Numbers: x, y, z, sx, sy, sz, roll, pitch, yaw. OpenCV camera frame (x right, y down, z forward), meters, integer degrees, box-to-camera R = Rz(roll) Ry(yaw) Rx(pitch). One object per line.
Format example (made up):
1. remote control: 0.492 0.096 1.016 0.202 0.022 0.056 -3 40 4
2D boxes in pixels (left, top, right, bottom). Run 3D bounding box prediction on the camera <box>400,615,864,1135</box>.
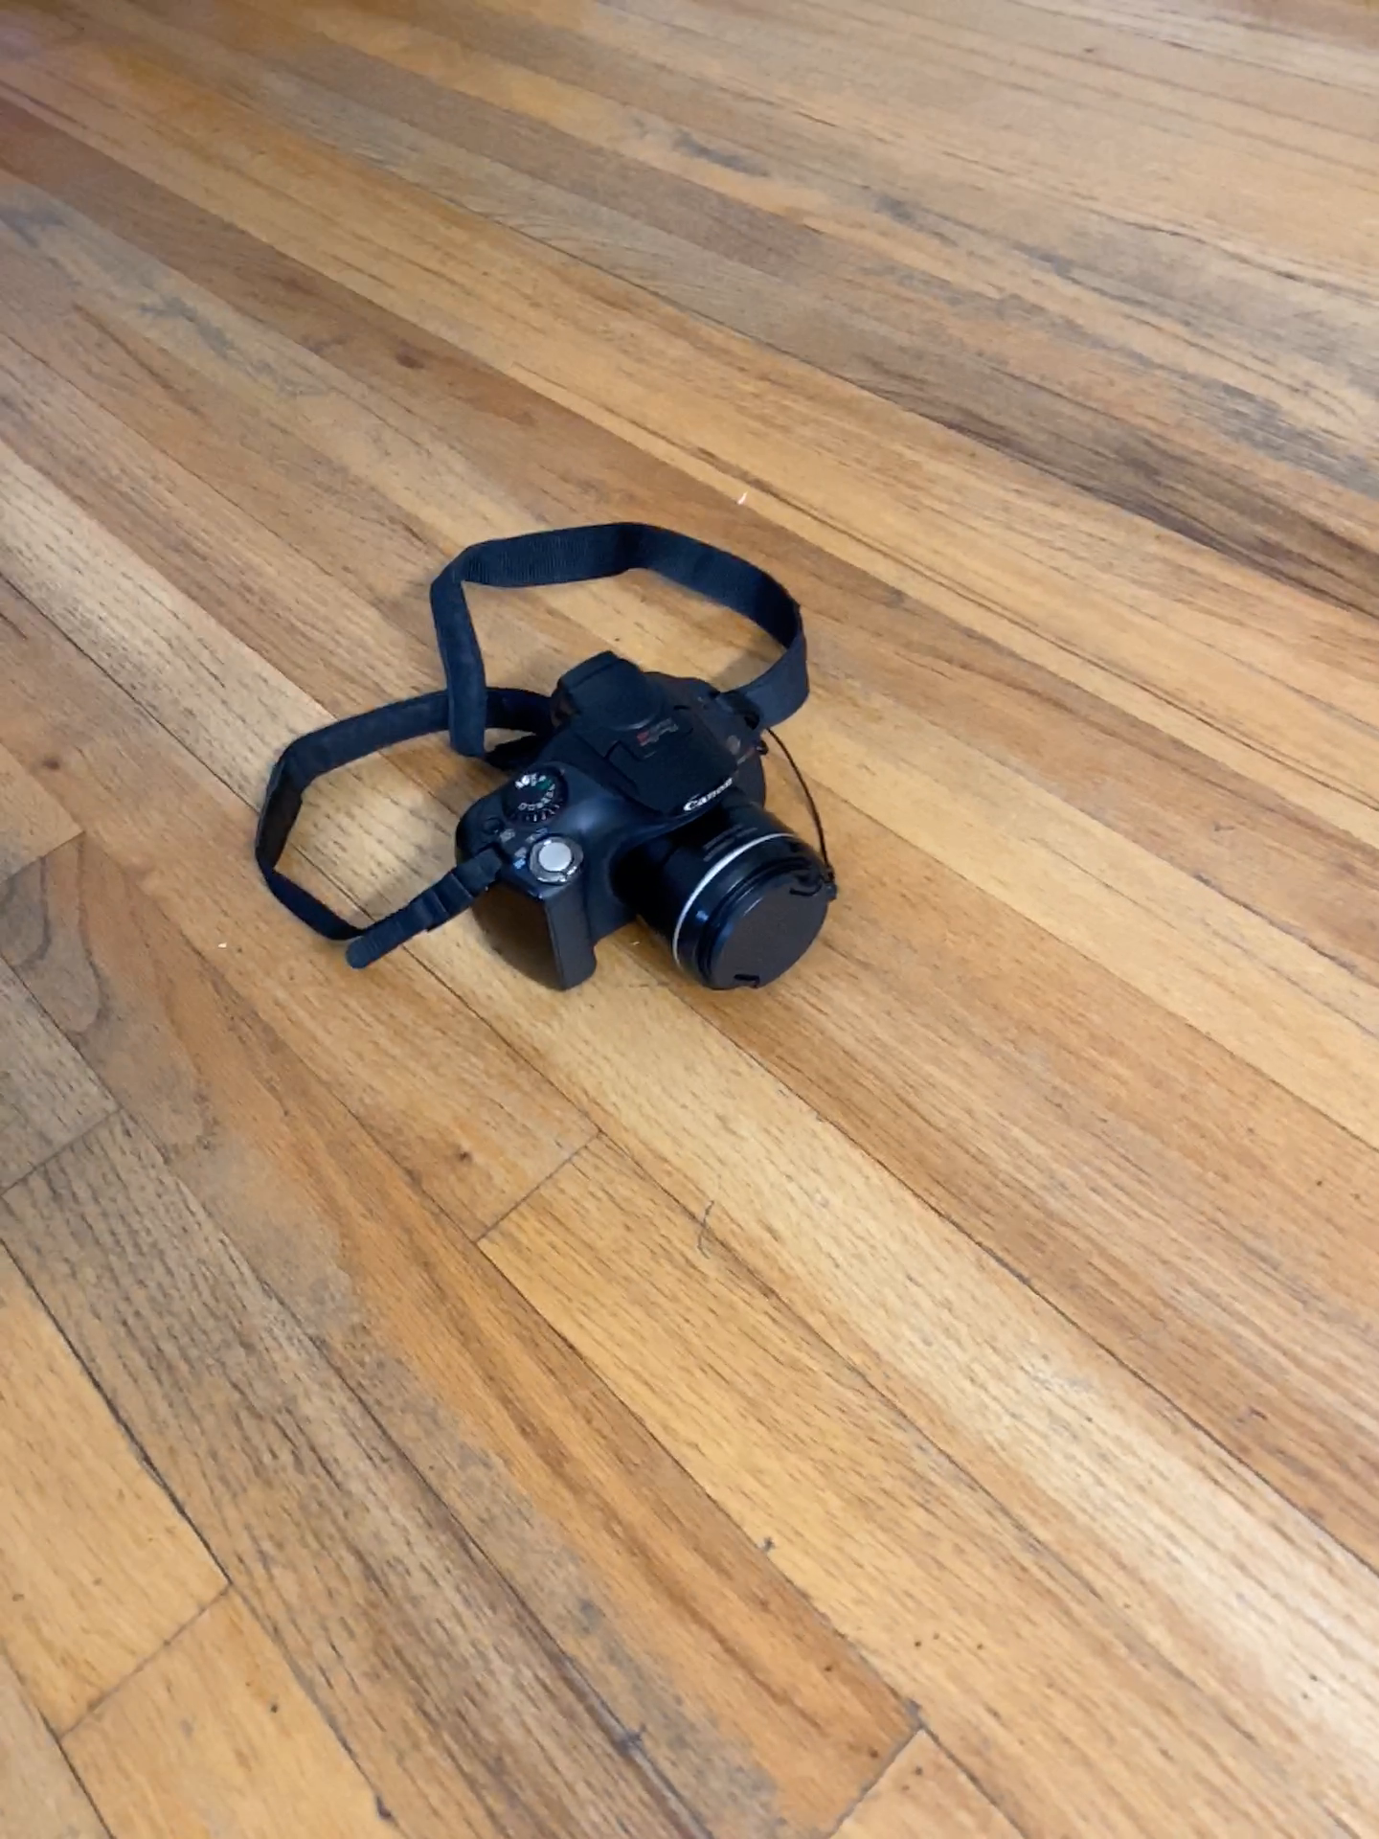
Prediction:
1. camera: -0.017 -0.018 0.529 0.110 0.109 0.120 -36 56 -21
